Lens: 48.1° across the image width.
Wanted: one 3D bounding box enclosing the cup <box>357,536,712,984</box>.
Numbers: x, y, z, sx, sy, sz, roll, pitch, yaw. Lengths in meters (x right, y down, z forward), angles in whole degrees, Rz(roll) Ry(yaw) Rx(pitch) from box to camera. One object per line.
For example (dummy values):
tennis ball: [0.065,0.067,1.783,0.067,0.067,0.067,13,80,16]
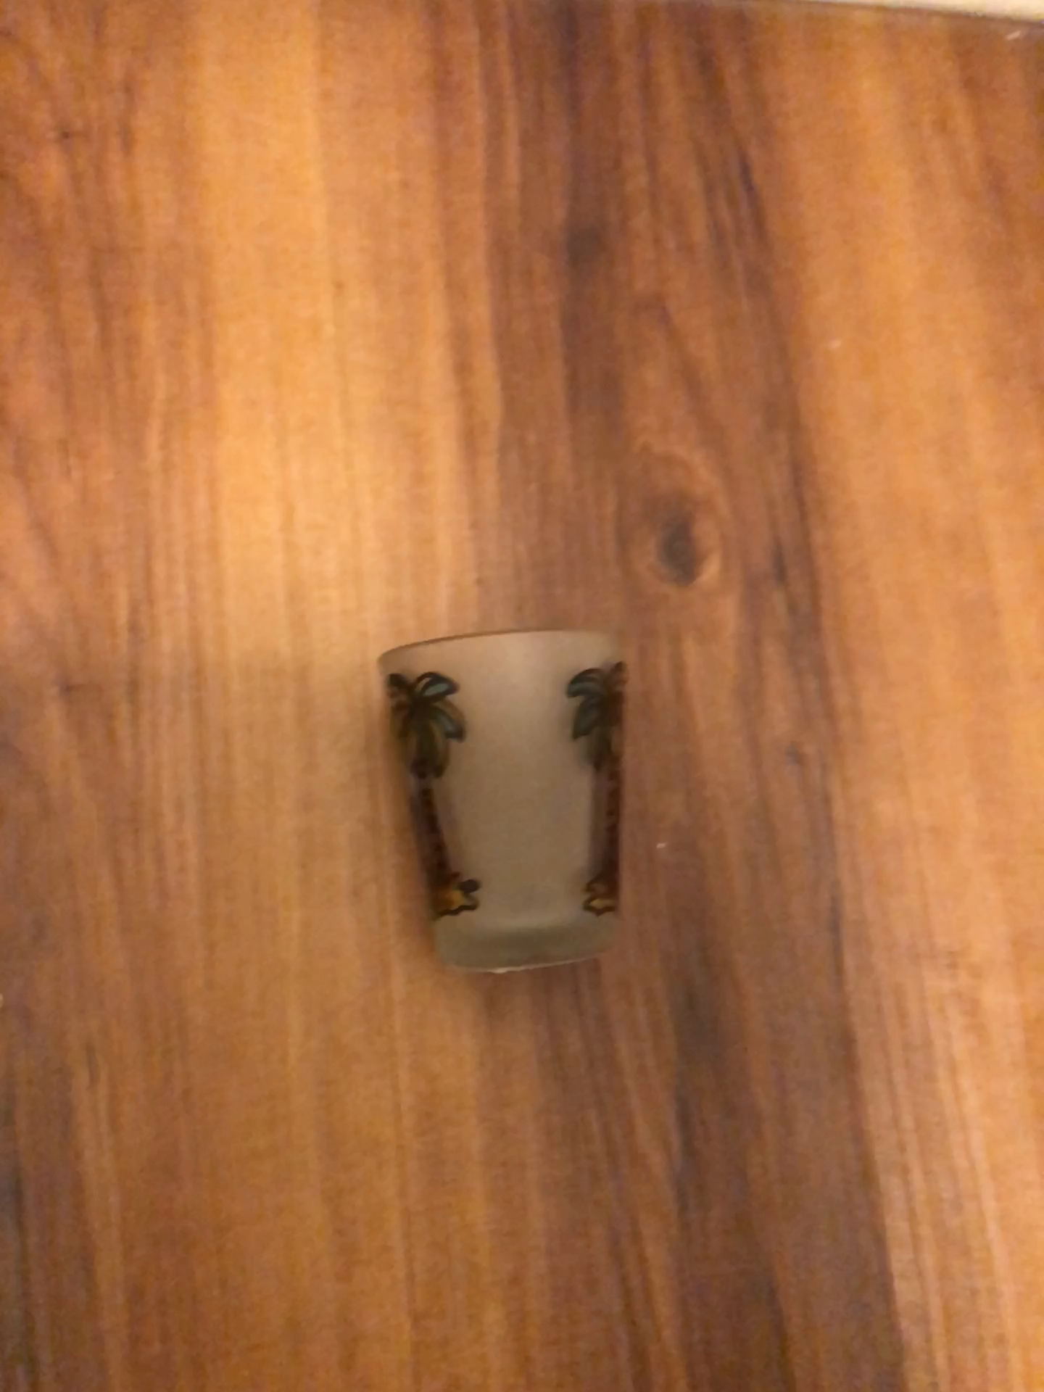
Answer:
cup: [-0.001,0.013,0.211,0.050,0.045,0.070,-4,78,-11]
